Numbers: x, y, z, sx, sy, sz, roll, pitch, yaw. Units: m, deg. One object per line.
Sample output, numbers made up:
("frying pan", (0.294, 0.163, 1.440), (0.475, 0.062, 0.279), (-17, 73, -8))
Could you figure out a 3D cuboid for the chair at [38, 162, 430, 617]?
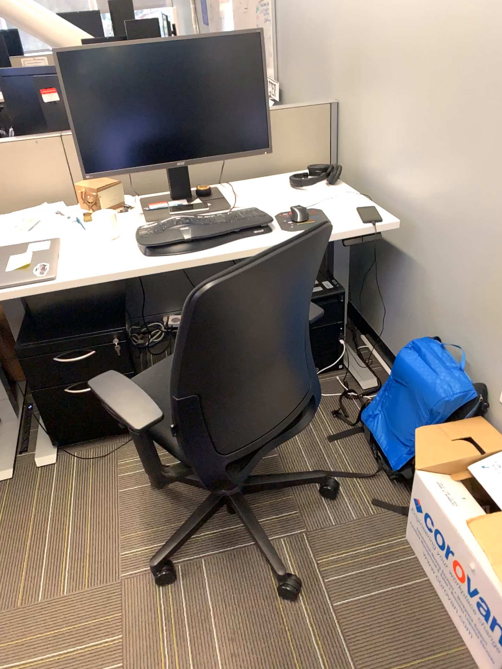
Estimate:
("chair", (0.018, 0.093, 1.569), (0.613, 0.944, 0.832), (23, 42, 35))
